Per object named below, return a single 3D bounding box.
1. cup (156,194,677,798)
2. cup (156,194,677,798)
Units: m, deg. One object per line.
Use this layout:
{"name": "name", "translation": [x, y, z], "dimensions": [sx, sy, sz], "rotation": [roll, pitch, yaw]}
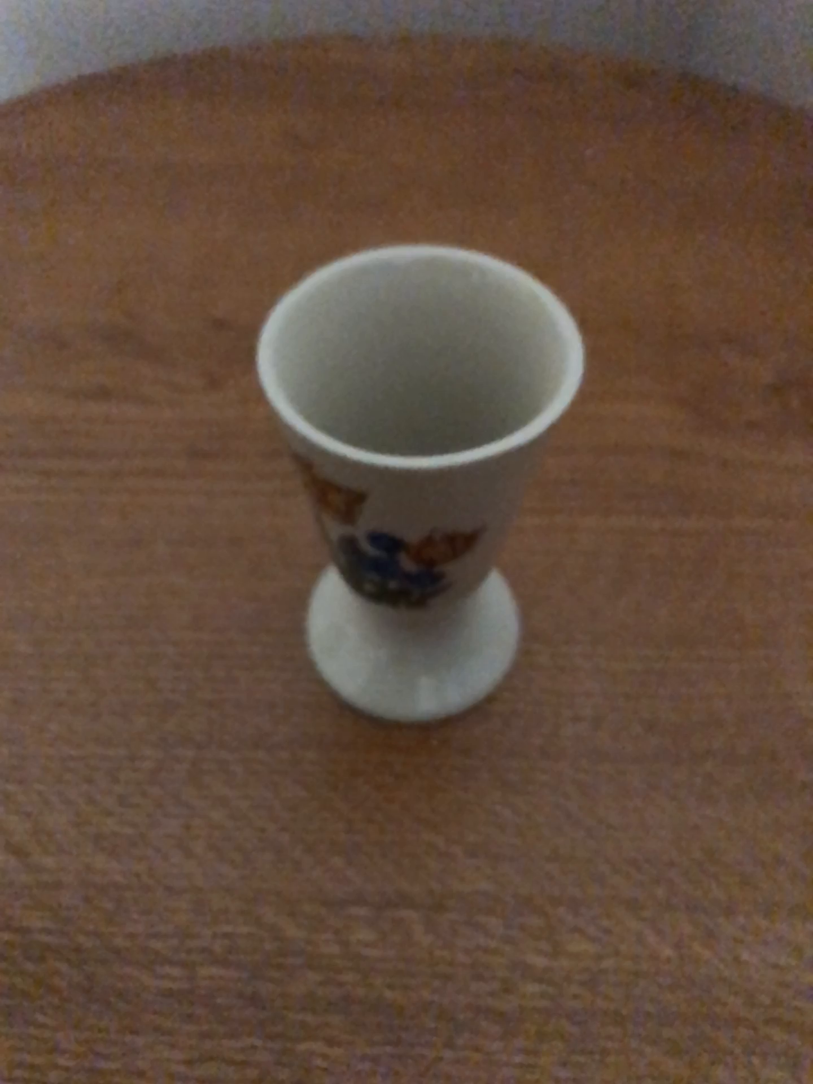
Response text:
{"name": "cup", "translation": [0.002, -0.007, 0.250], "dimensions": [0.080, 0.119, 0.080], "rotation": [0, 55, -1]}
{"name": "cup", "translation": [0.002, -0.007, 0.250], "dimensions": [0.080, 0.119, 0.080], "rotation": [0, 55, -1]}
